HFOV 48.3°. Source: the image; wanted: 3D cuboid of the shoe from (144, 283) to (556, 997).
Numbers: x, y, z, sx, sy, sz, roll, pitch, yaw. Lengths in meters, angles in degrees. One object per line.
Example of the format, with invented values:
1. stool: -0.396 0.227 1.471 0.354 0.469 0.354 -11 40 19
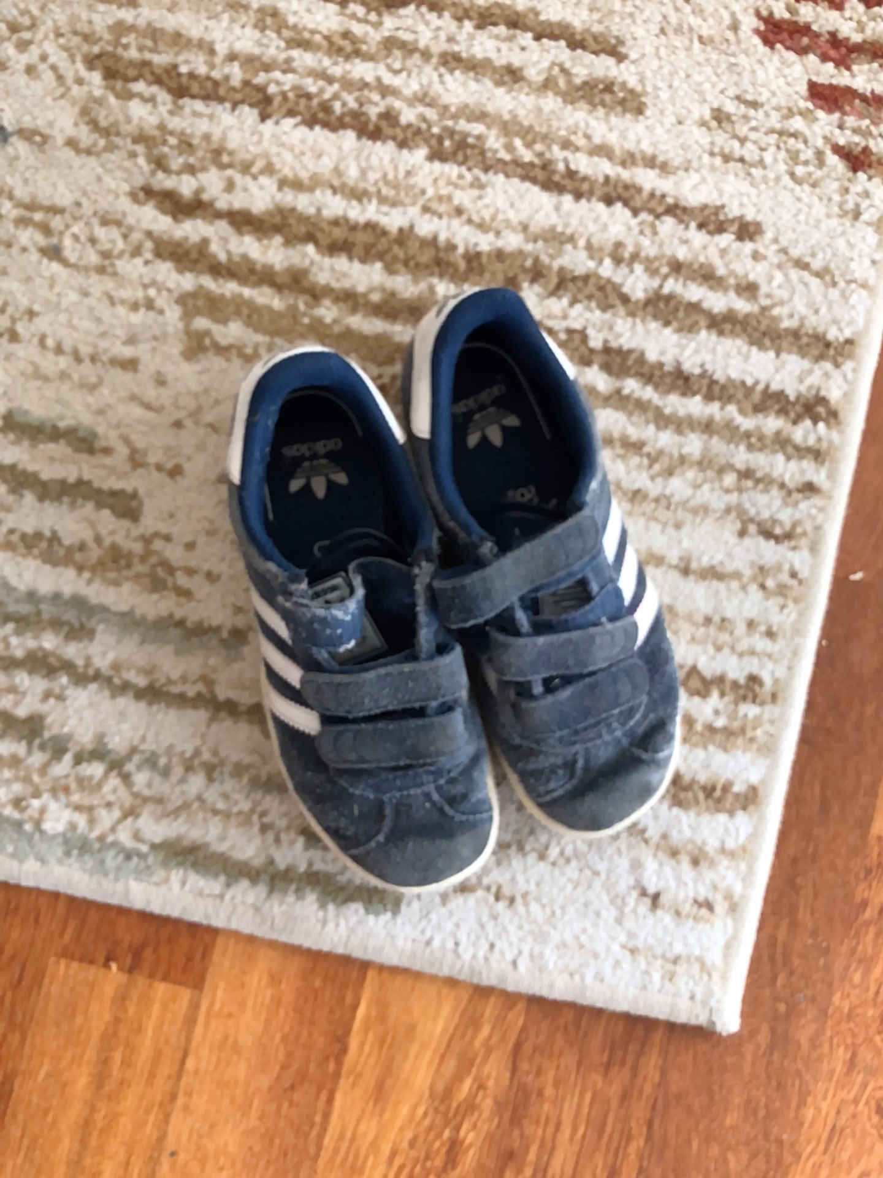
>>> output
1. shoe: -0.031 0.016 0.345 0.084 0.053 0.216 -14 89 -4

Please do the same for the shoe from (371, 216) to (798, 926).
1. shoe: 0.046 -0.007 0.350 0.086 0.052 0.219 -15 89 -4
